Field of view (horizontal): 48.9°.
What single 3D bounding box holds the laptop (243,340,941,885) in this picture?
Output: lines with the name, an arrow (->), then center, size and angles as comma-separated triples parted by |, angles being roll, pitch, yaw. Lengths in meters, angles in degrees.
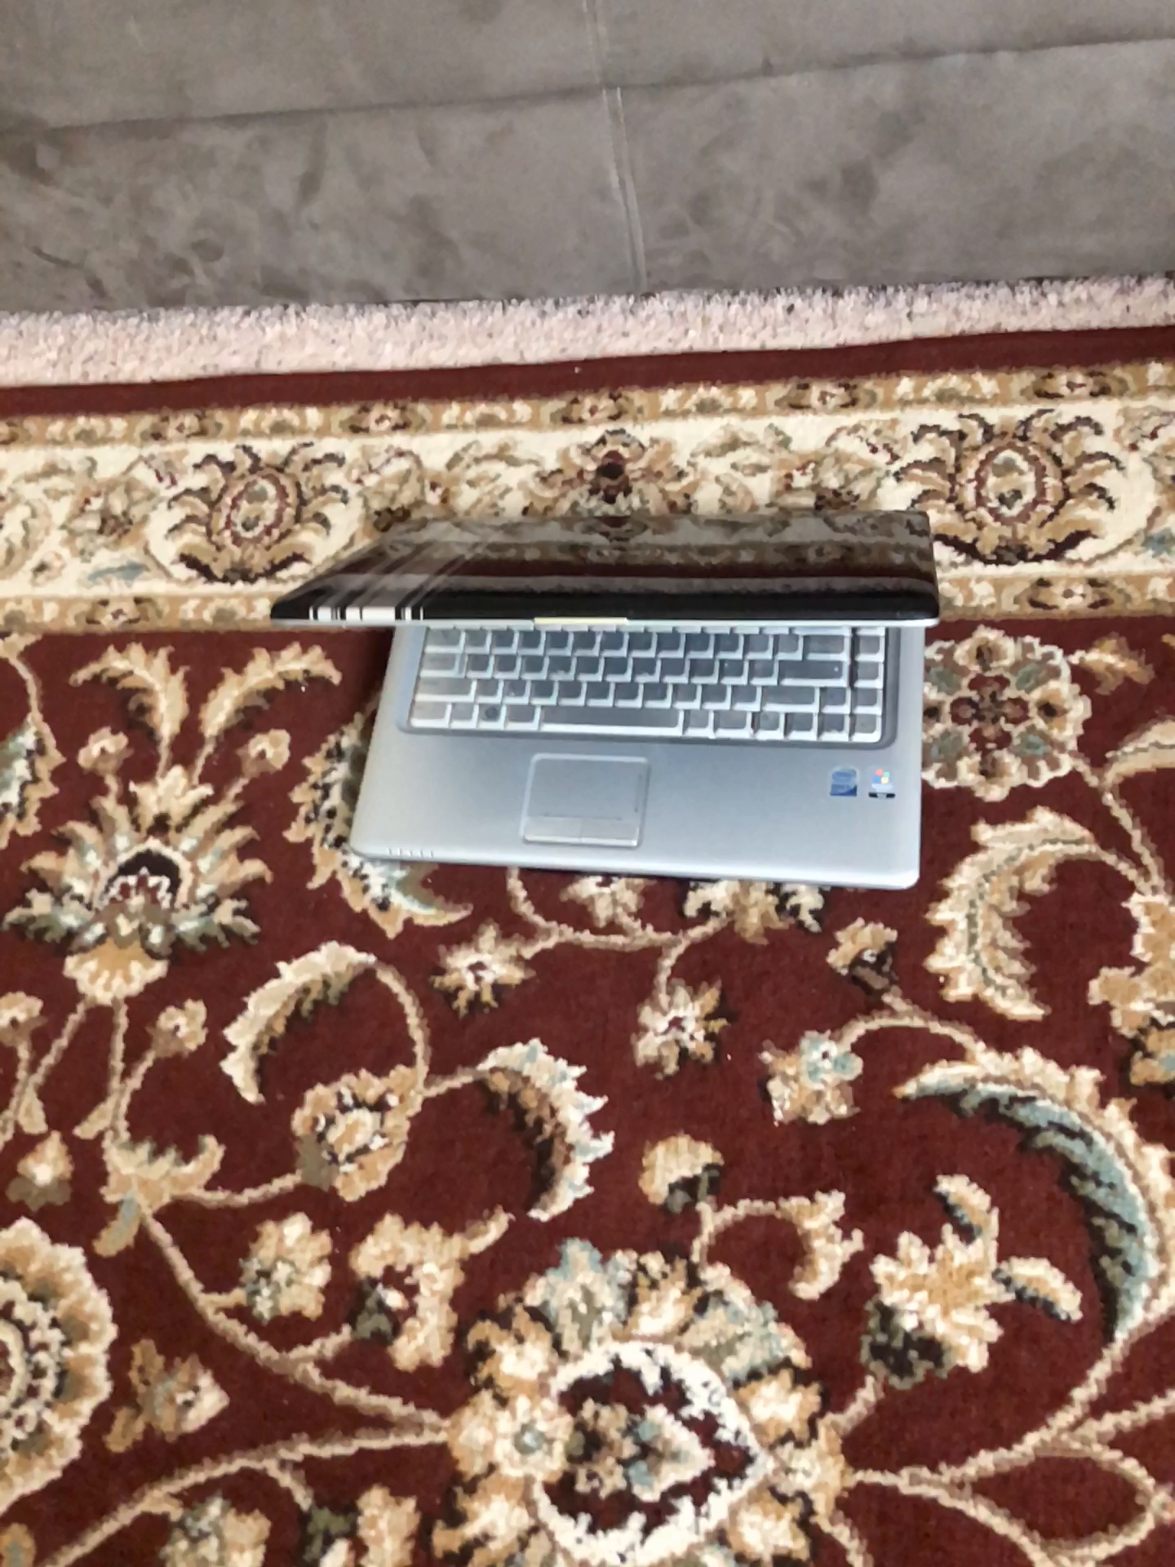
laptop -> 0.021, -0.096, 0.748 | 0.342, 0.164, 0.244 | 2, 64, 12
